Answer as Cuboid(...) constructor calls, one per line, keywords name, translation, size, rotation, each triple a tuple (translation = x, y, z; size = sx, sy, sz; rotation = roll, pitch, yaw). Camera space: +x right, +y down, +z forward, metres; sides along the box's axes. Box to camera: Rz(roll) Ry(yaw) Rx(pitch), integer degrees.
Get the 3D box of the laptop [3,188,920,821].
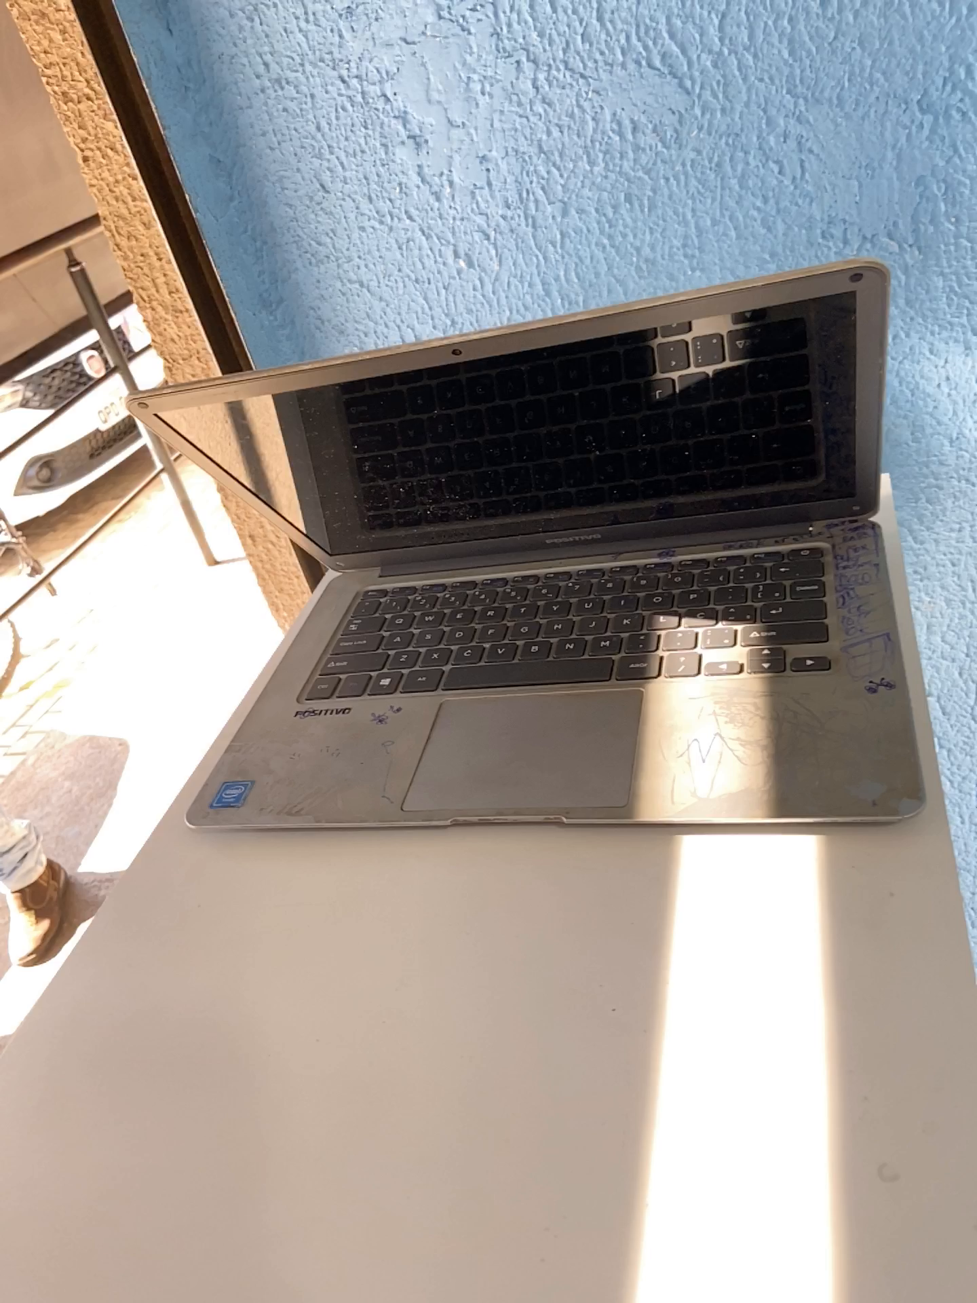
Cuboid(name="laptop", translation=(0.008, -0.062, 0.461), size=(0.326, 0.167, 0.213), rotation=(-4, 35, 19))
